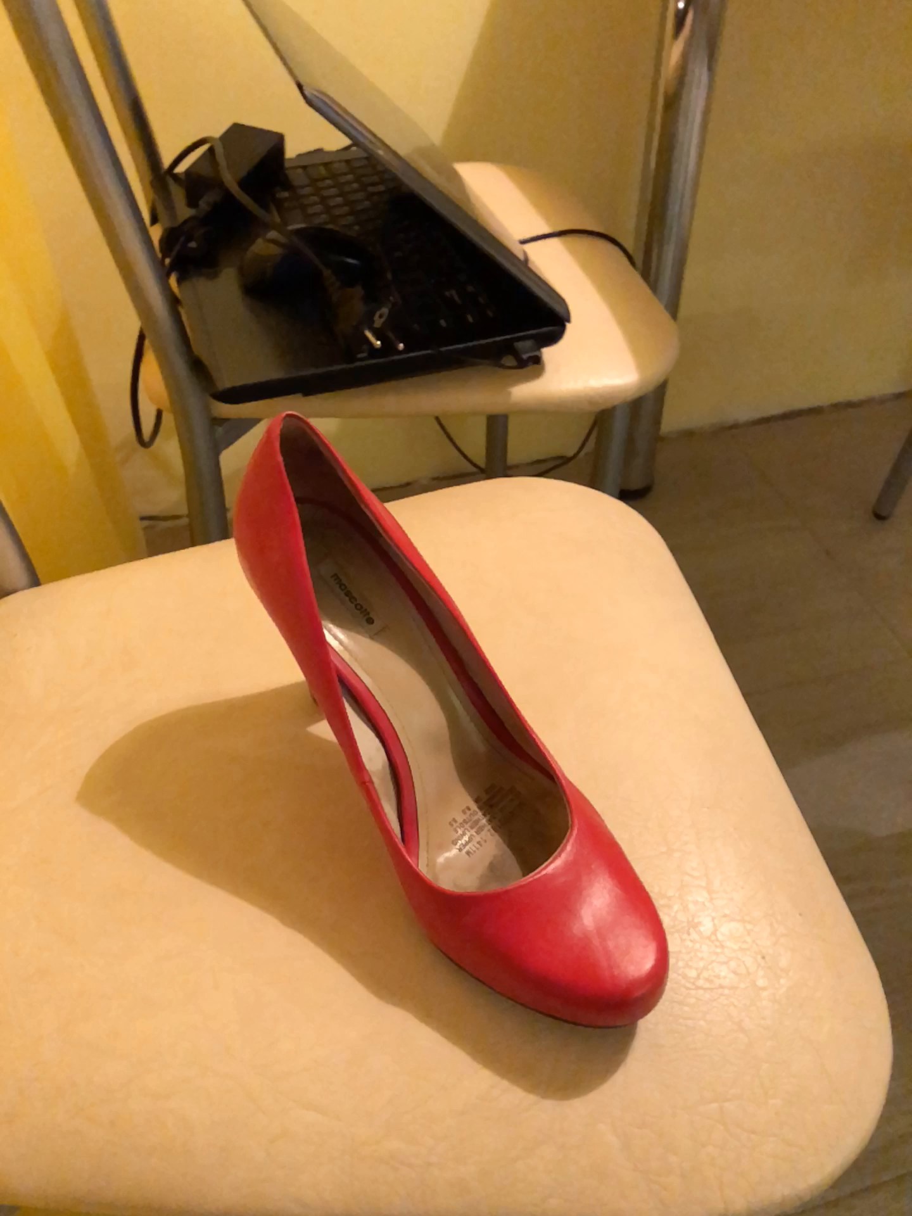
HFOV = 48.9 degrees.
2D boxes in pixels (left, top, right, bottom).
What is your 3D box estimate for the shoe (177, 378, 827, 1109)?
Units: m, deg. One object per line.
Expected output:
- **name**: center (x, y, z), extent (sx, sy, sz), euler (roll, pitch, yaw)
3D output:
- **shoe**: center (-0.001, 0.035, 0.364), extent (0.080, 0.129, 0.230), euler (-28, 51, -26)
